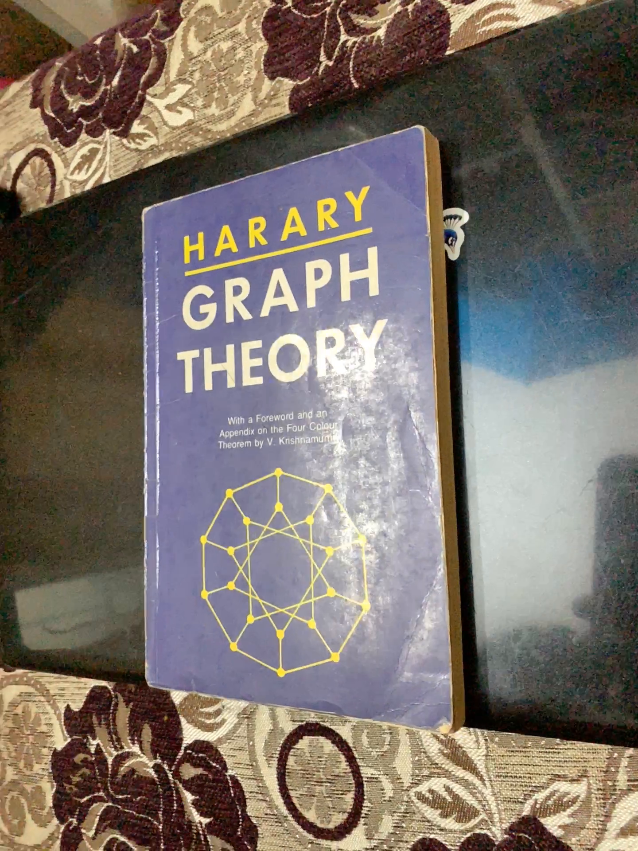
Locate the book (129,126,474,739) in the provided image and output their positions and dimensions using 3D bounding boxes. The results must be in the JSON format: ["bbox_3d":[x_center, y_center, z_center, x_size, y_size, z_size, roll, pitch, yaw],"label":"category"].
[{"bbox_3d":[-0.016,0.003,0.259,0.140,0.020,0.200,-4,85,29],"label":"book"}]
